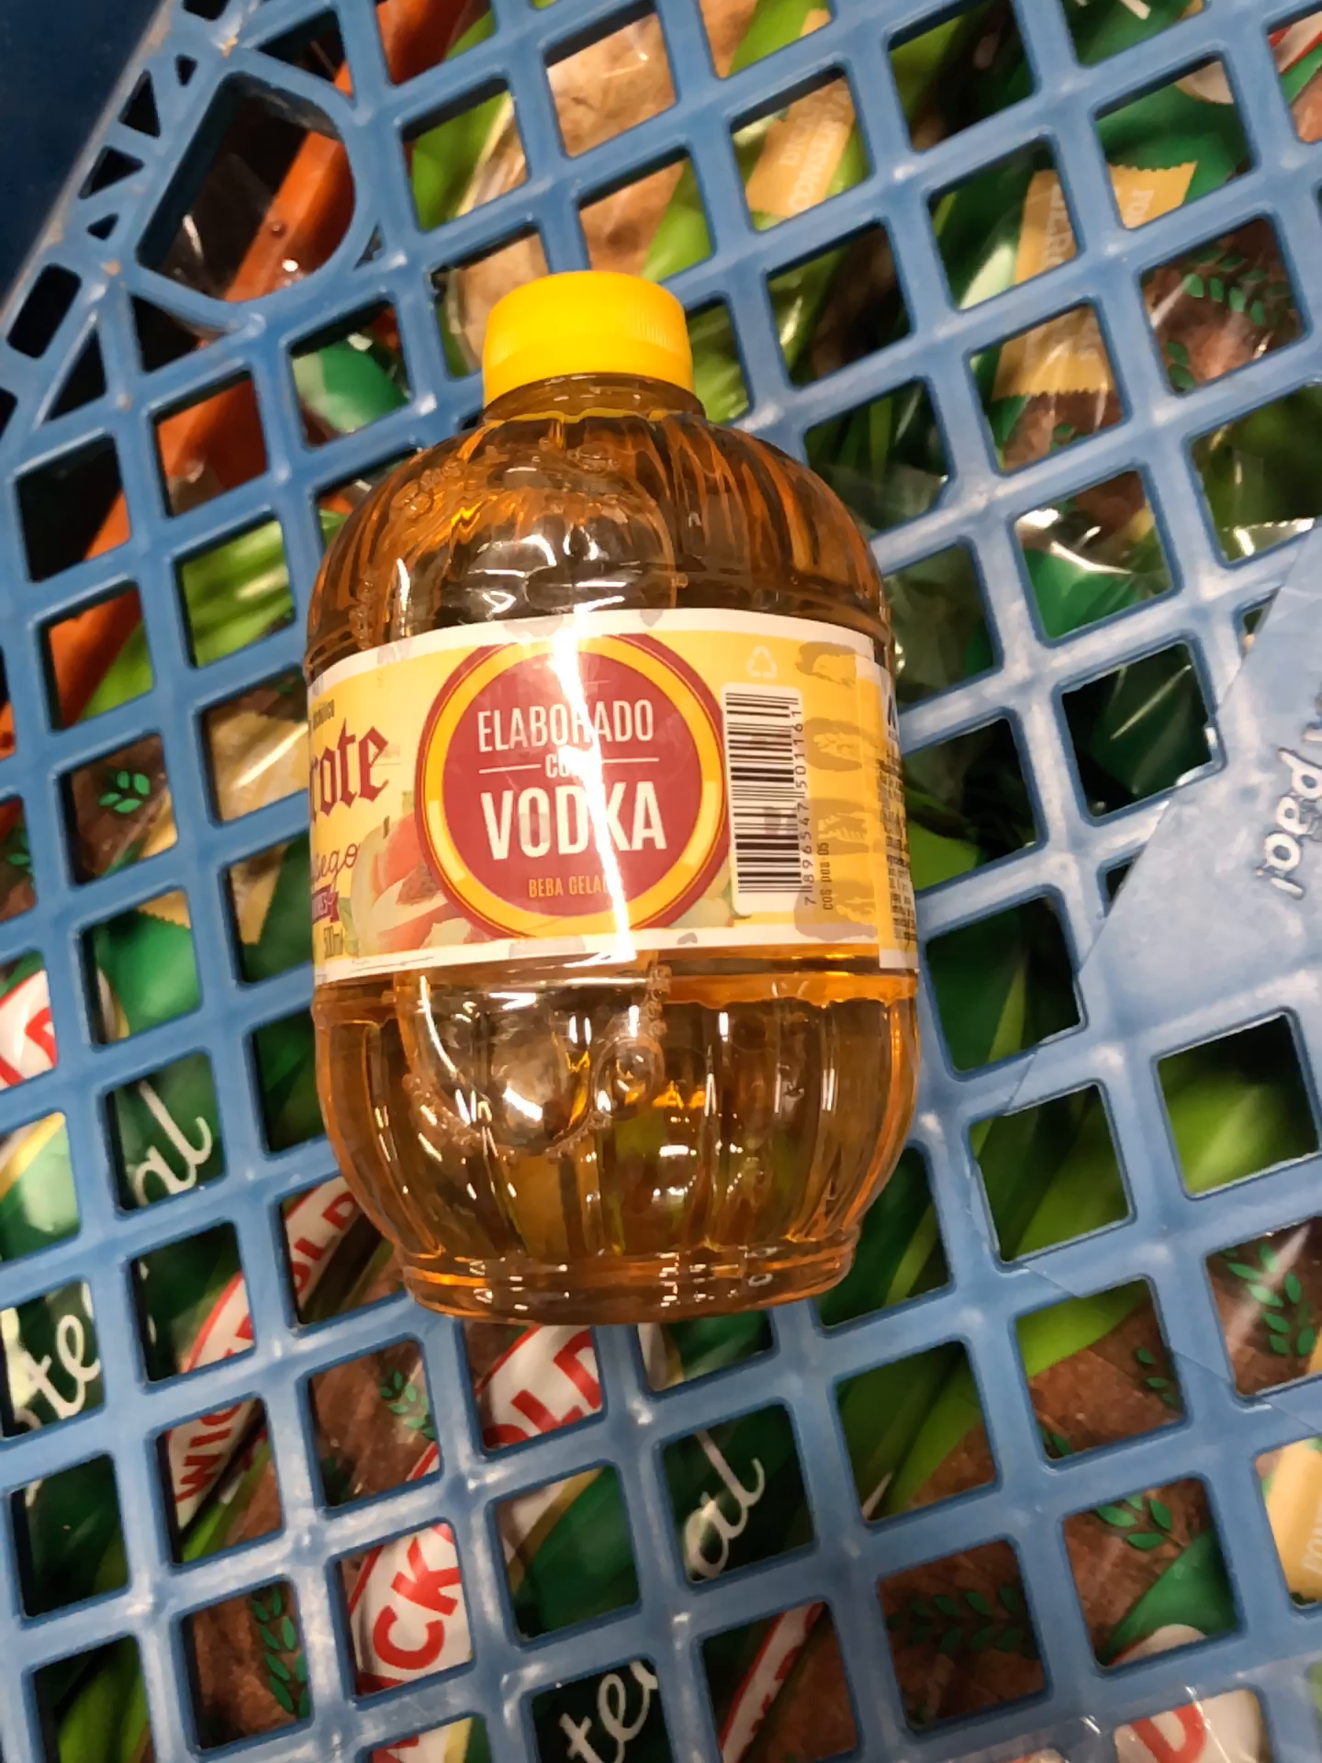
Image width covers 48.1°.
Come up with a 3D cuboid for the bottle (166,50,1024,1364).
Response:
[{"bbox_3d":[-0.012,-0.014,0.196,0.080,0.070,0.130,-11,81,47],"label":"bottle"}]
